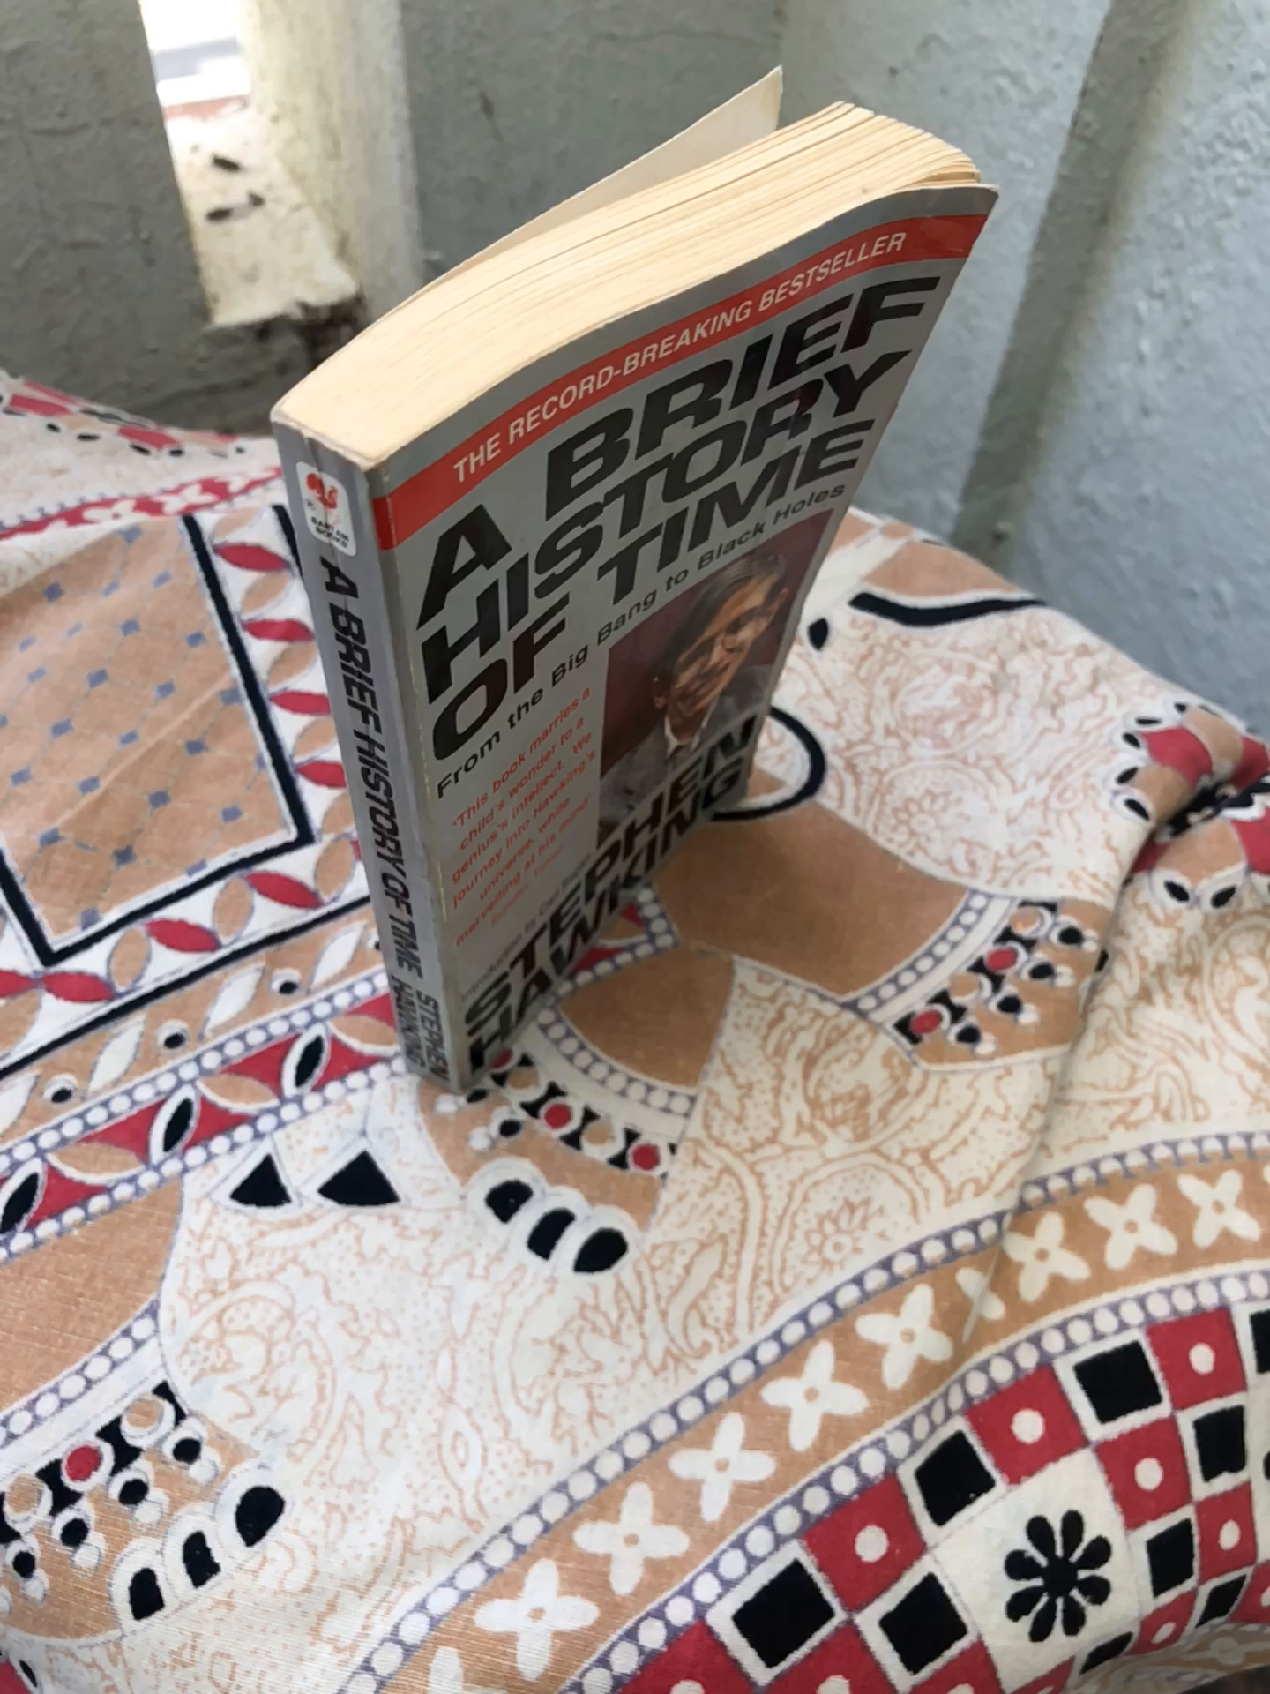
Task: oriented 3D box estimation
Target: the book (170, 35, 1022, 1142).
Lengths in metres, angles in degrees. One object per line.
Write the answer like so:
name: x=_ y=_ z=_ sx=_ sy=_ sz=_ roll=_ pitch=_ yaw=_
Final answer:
book: x=-0.004 y=-0.033 z=0.258 sx=0.030 sy=0.170 sz=0.130 roll=40 pitch=62 yaw=20
